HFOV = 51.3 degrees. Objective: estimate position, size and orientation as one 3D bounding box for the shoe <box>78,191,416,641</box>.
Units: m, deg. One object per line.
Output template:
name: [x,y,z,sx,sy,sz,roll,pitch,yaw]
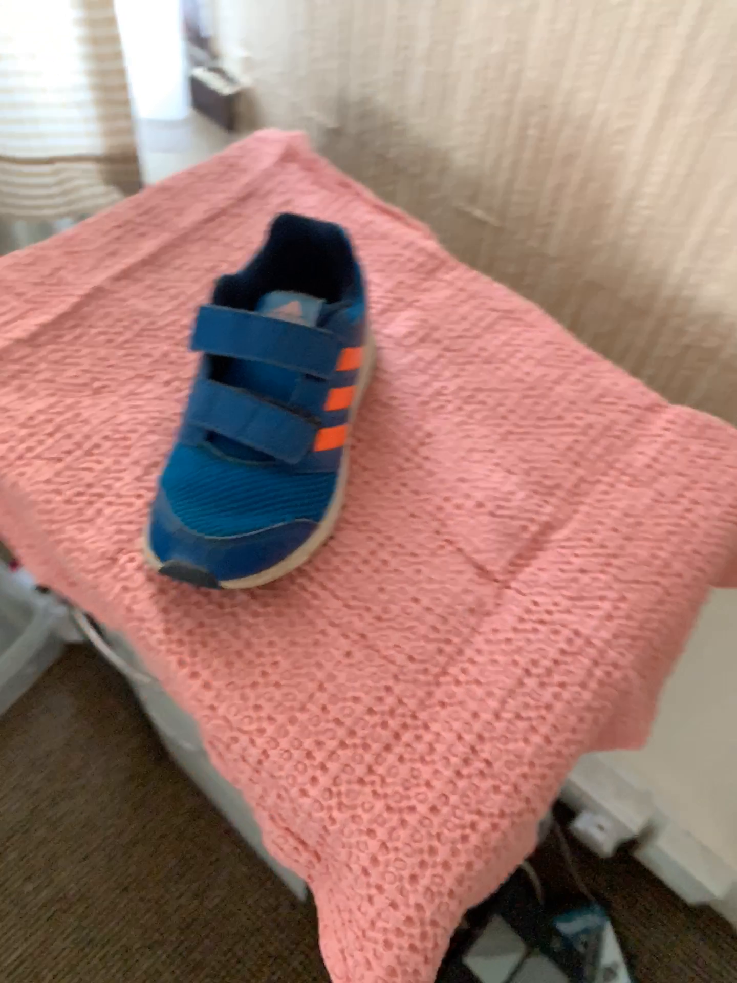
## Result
shoe: [-0.046,-0.046,0.381,0.084,0.075,0.208,15,57,5]
